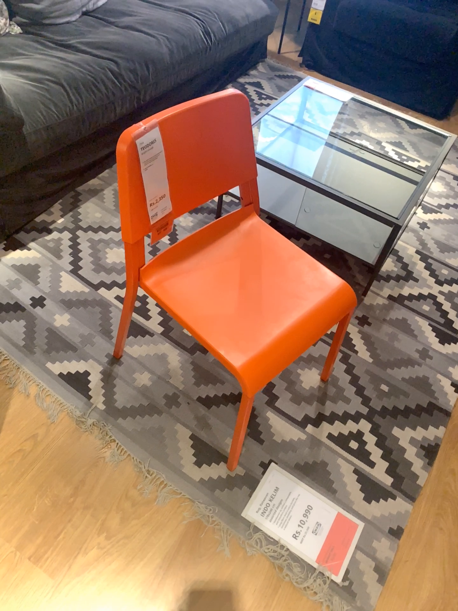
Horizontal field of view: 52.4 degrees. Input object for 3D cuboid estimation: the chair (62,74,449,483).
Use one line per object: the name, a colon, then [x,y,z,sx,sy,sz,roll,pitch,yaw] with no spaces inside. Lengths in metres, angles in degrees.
chair: [0.023,-0.050,1.213,0.581,0.728,0.521,40,58,22]
